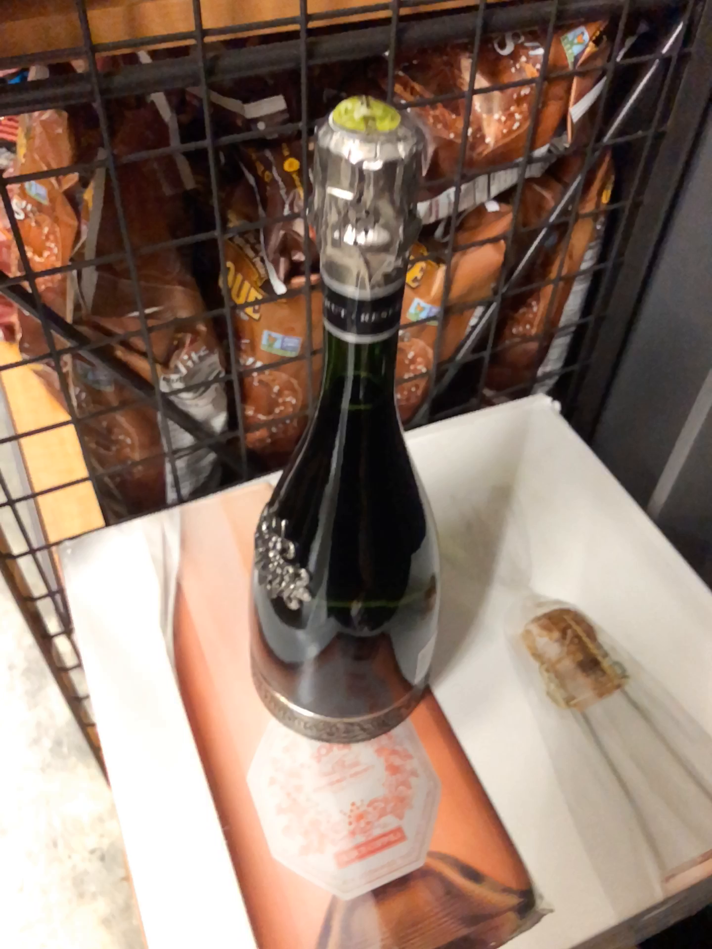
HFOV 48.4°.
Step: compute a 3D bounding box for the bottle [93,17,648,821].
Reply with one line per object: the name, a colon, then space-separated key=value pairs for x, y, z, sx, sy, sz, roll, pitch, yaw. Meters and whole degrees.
bottle: x=-0.006 y=0.008 z=0.350 sx=0.110 sy=0.332 sz=0.123 roll=-26 pitch=53 yaw=-24
